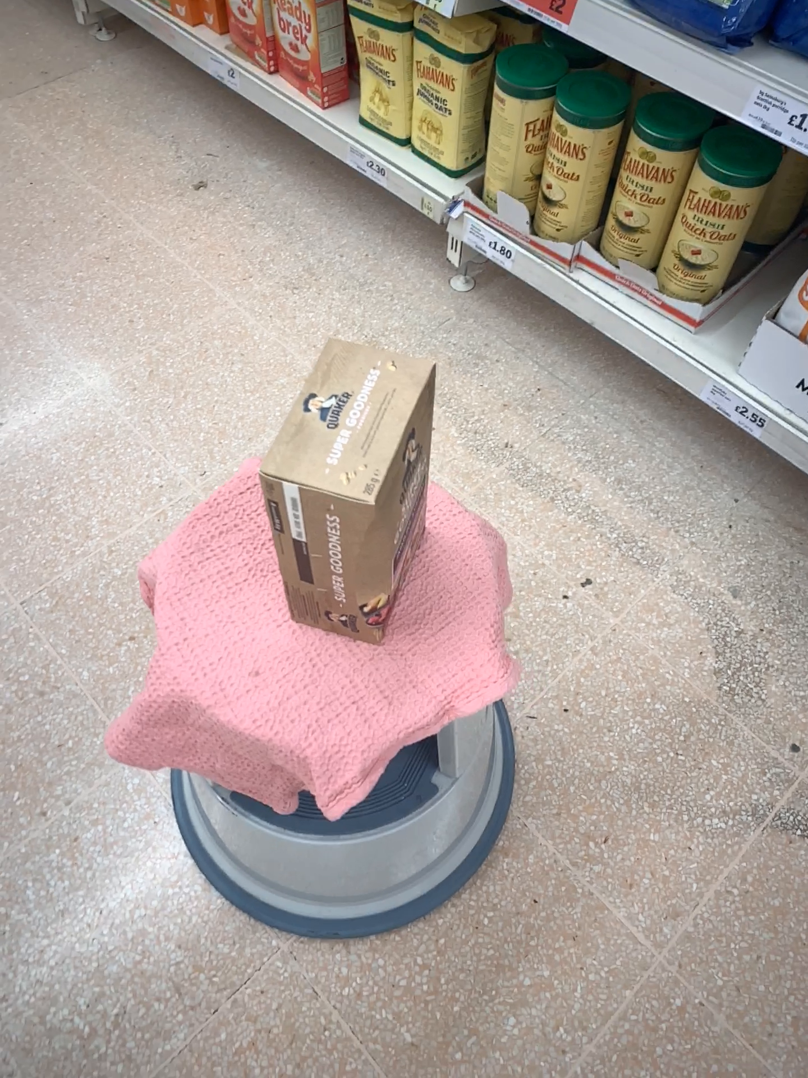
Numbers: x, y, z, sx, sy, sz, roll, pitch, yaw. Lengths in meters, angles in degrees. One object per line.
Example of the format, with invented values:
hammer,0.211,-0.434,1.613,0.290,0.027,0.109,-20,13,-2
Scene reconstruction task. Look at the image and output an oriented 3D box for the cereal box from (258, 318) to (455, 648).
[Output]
cereal box,-0.031,-0.033,0.617,0.090,0.209,0.131,15,58,7
